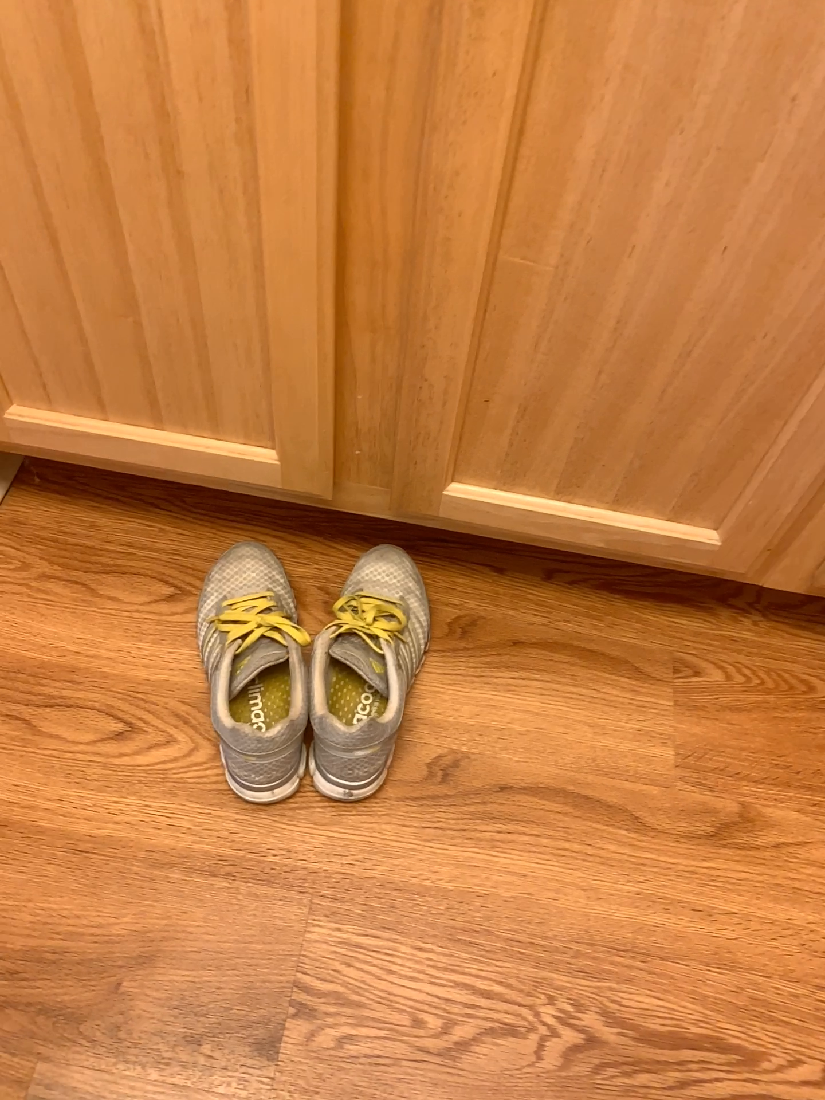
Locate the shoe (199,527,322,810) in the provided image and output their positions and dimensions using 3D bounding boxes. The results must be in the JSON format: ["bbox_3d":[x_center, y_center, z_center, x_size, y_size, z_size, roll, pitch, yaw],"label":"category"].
[{"bbox_3d":[-0.149,0.113,0.827,0.090,0.130,0.231,-6,56,-10],"label":"shoe"}]

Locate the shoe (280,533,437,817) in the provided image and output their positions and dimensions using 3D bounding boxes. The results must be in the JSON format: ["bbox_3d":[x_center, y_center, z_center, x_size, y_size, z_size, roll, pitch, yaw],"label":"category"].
[{"bbox_3d":[-0.048,0.117,0.807,0.090,0.130,0.221,12,55,3],"label":"shoe"}]
